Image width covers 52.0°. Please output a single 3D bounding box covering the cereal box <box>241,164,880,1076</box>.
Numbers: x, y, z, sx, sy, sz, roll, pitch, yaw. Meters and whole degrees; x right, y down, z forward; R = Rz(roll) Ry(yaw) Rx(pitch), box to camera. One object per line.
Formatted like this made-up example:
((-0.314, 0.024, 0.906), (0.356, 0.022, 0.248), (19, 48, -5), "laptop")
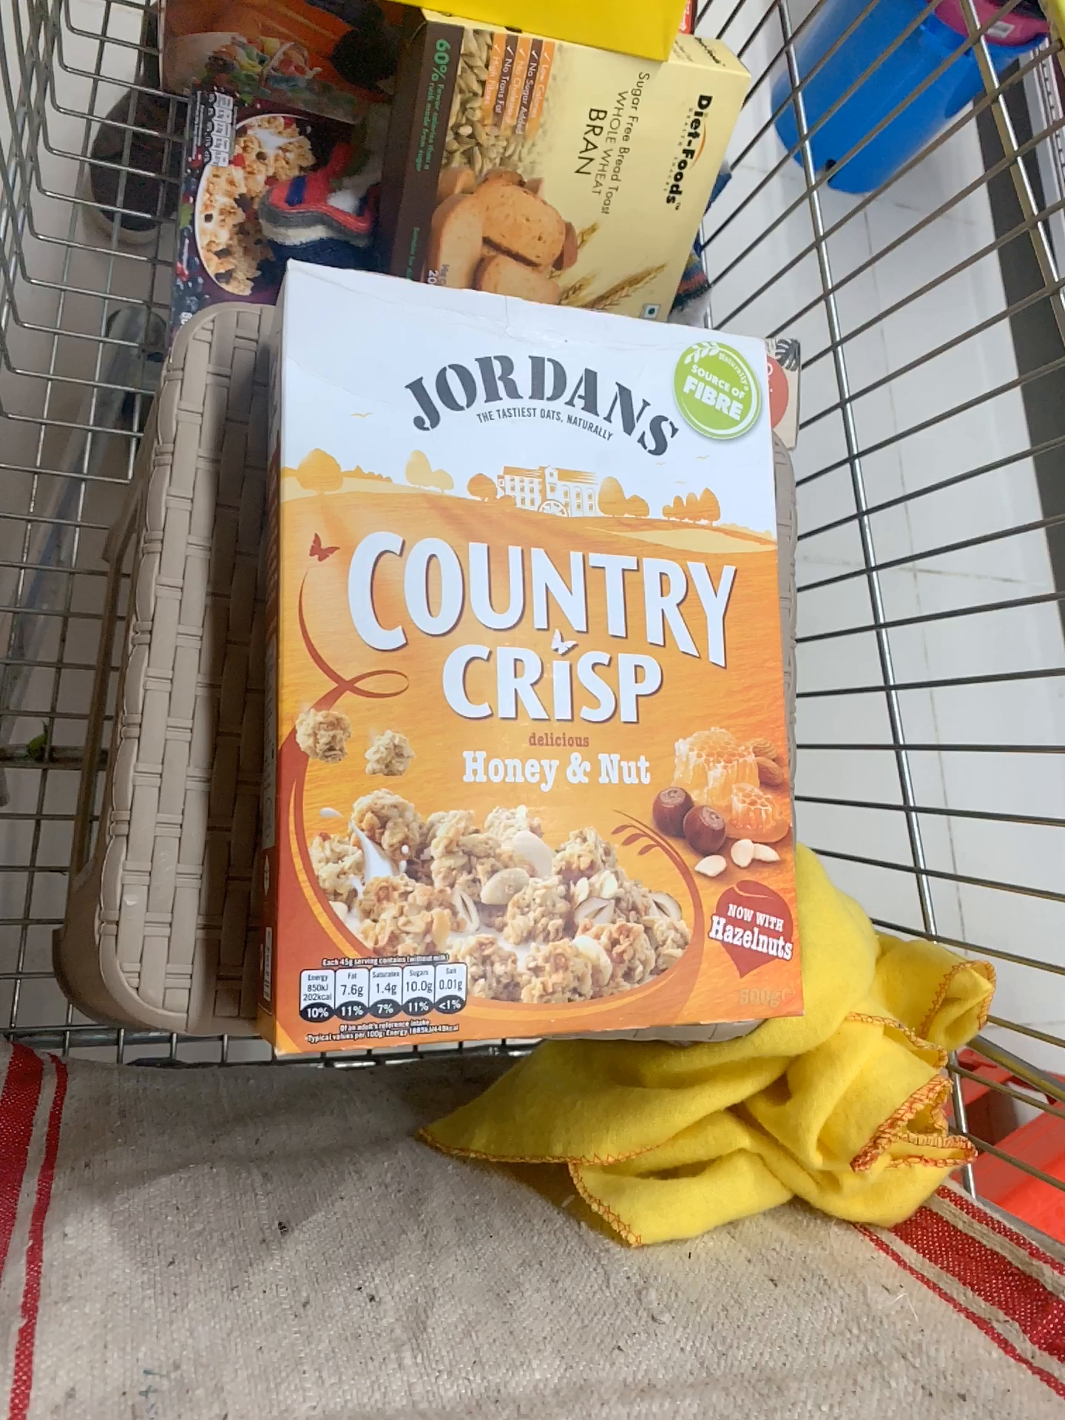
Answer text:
((0.006, -0.023, 0.374), (0.190, 0.080, 0.260), (3, 80, -21), "cereal box")
